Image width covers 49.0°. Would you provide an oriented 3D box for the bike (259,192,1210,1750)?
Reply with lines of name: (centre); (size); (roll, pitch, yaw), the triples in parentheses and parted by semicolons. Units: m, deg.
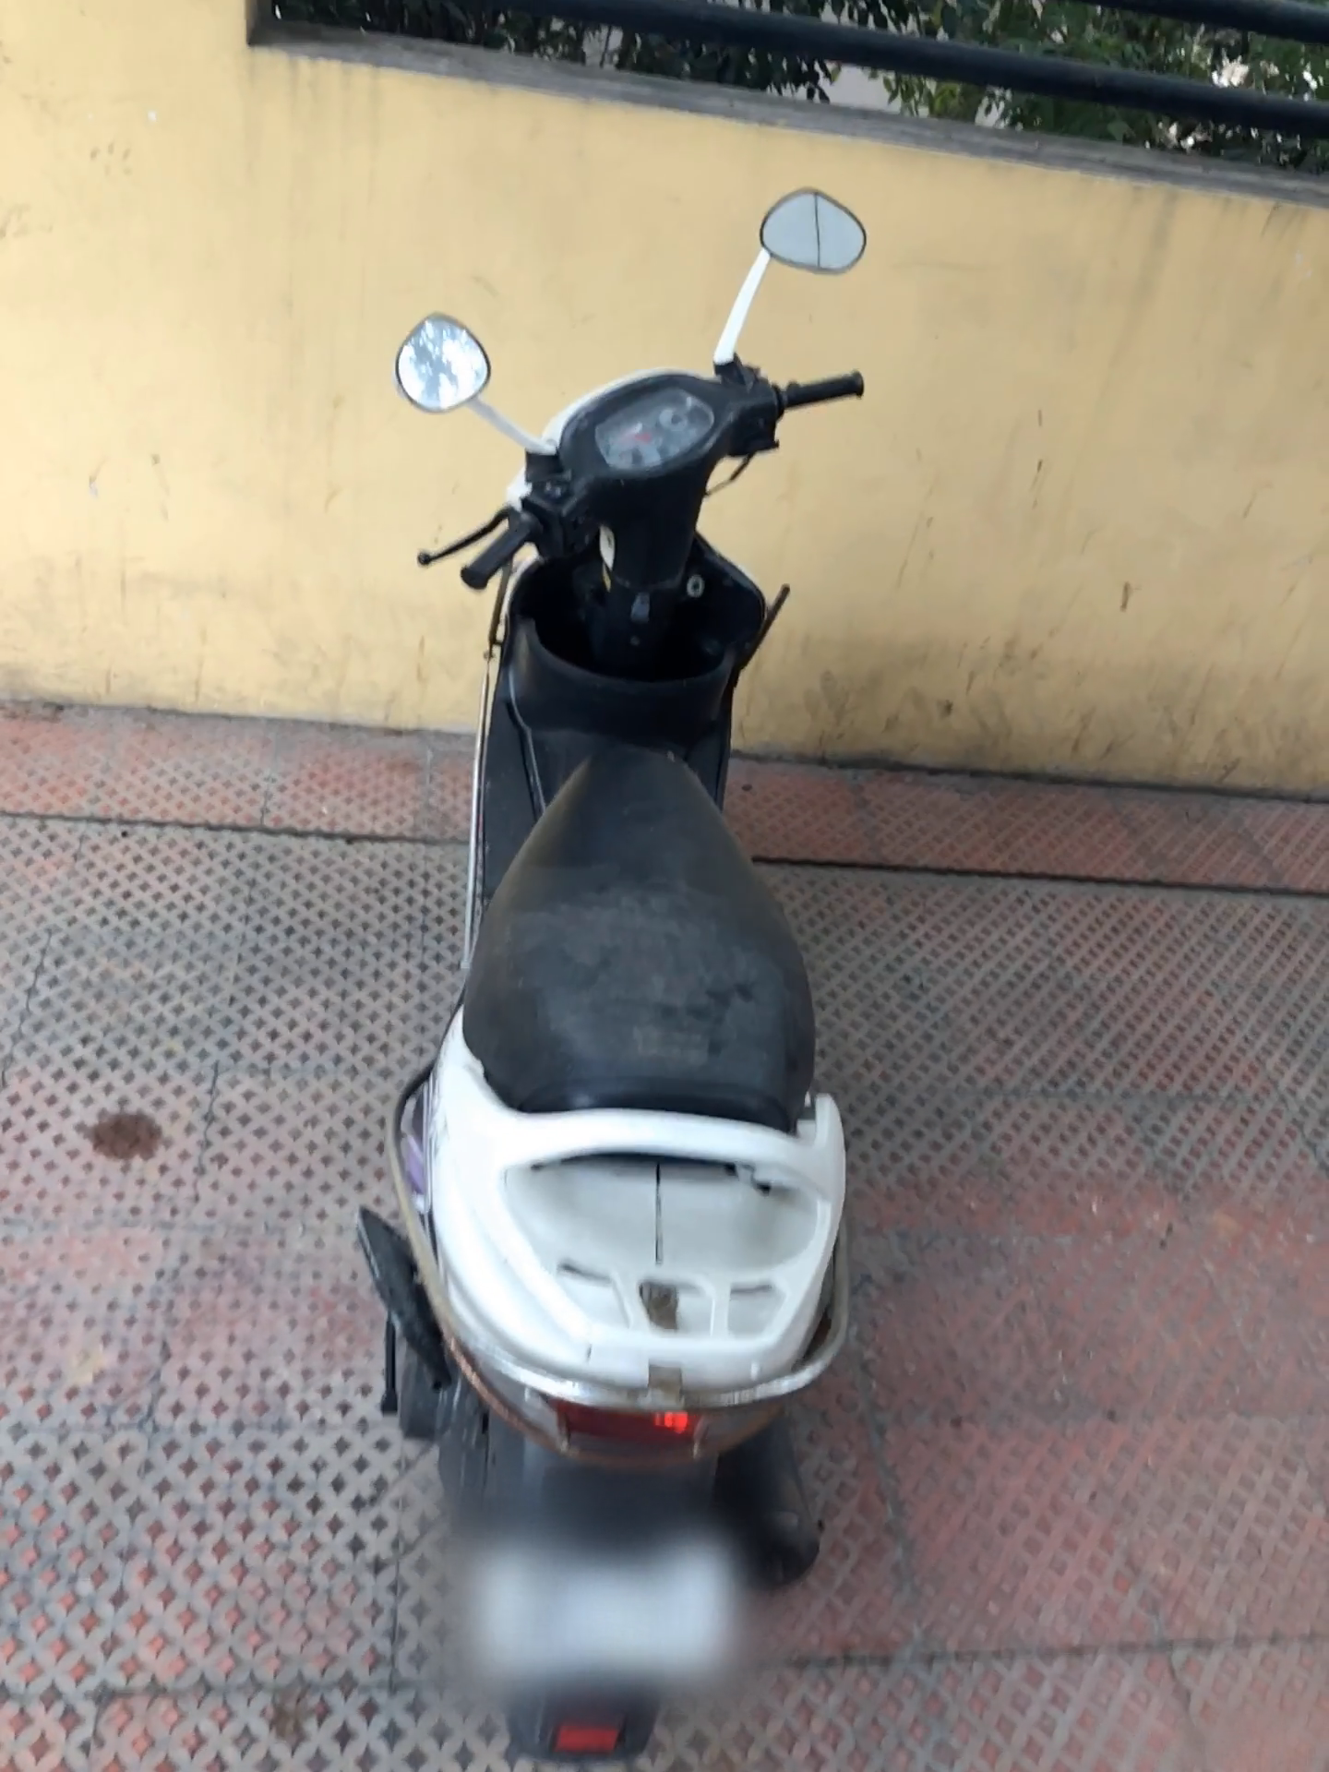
bike: (-0.084, 0.006, 1.778); (0.599, 1.080, 1.481); (4, 40, -9)
